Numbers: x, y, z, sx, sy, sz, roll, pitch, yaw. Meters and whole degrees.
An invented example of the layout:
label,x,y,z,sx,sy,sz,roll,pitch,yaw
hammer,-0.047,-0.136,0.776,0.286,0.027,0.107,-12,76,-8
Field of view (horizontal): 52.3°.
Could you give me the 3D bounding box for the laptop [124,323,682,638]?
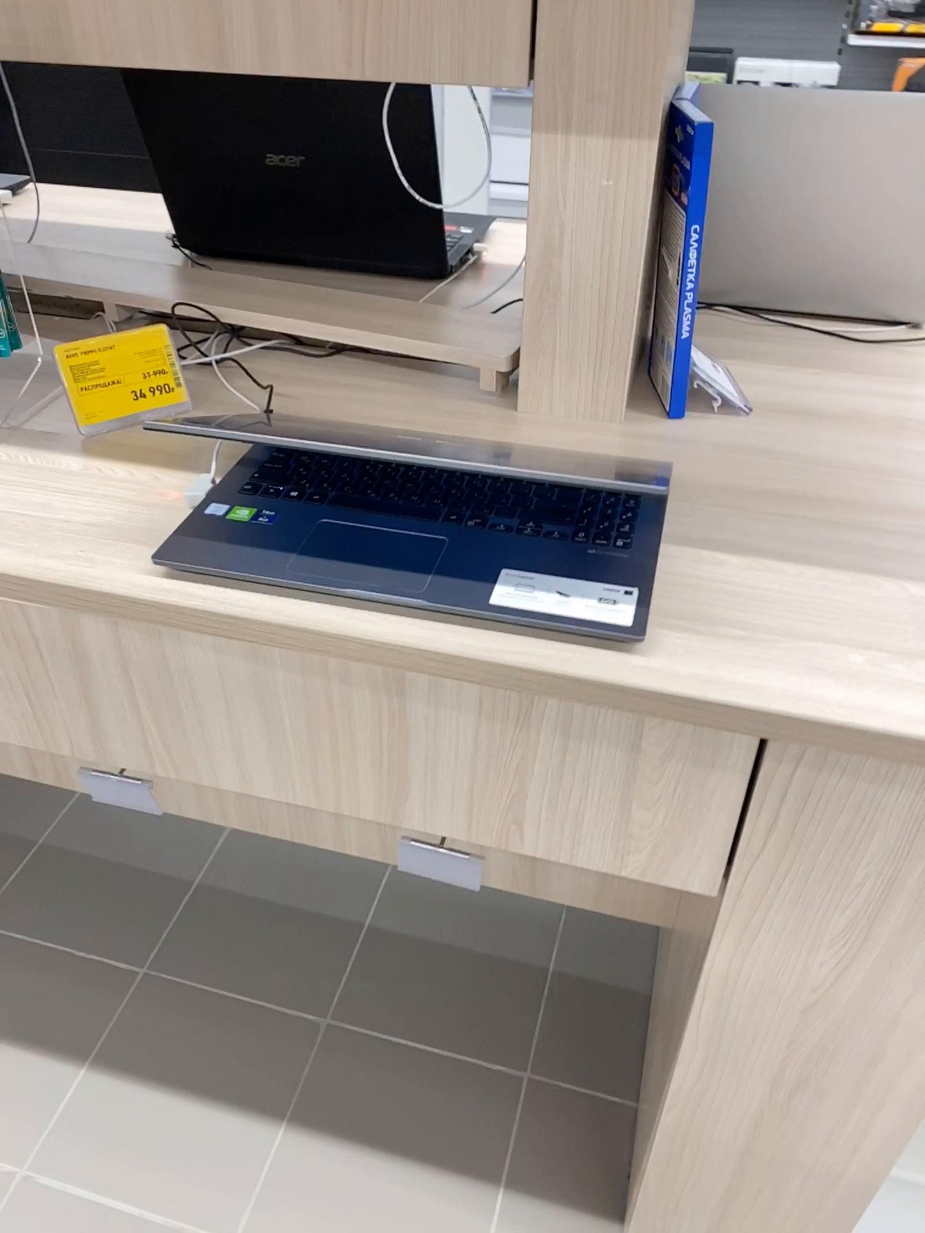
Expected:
label,x,y,z,sx,sy,sz,roll,pitch,yaw
laptop,-0.026,-0.119,0.709,0.353,0.088,0.237,9,38,10
